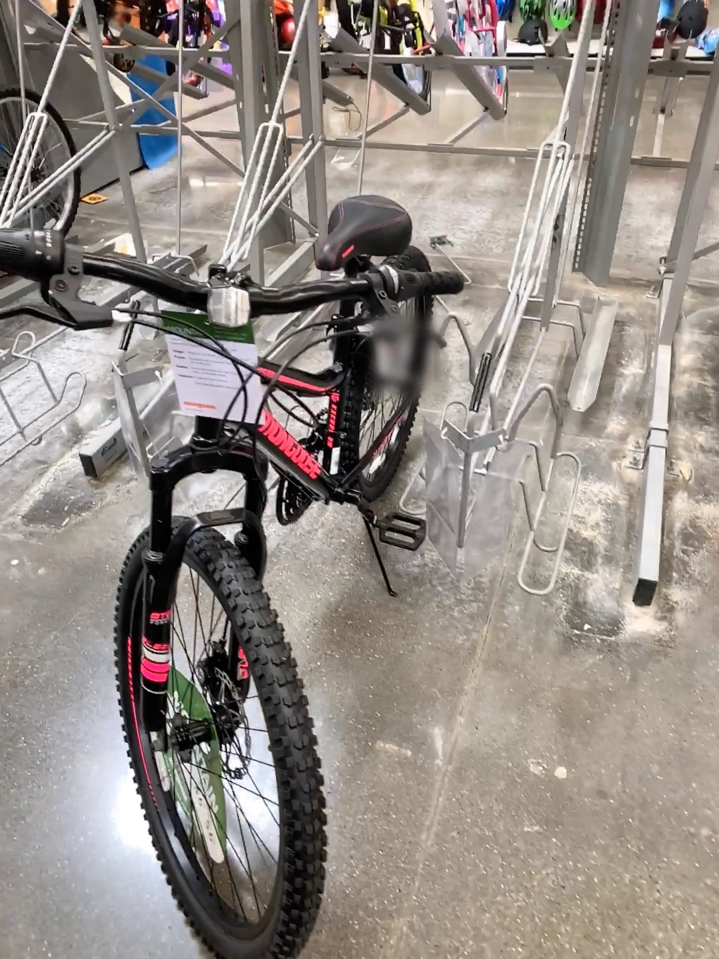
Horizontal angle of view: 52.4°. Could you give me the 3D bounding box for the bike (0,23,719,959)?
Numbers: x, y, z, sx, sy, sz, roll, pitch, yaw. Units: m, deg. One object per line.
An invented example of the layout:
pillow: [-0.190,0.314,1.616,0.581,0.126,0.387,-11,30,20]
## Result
bike: [0.077,-0.141,1.237,0.638,0.963,1.411,4,37,9]
